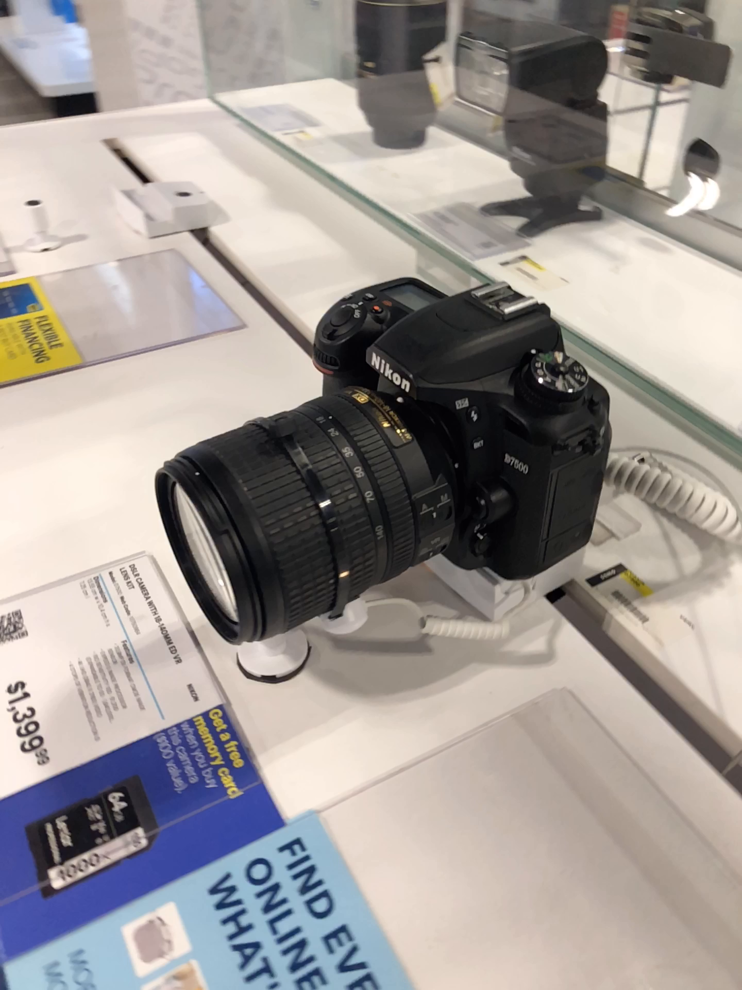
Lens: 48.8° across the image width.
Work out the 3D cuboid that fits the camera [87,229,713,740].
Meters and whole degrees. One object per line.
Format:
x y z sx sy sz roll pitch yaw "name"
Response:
0.009 -0.022 0.337 0.190 0.089 0.141 -23 45 -25 "camera"
